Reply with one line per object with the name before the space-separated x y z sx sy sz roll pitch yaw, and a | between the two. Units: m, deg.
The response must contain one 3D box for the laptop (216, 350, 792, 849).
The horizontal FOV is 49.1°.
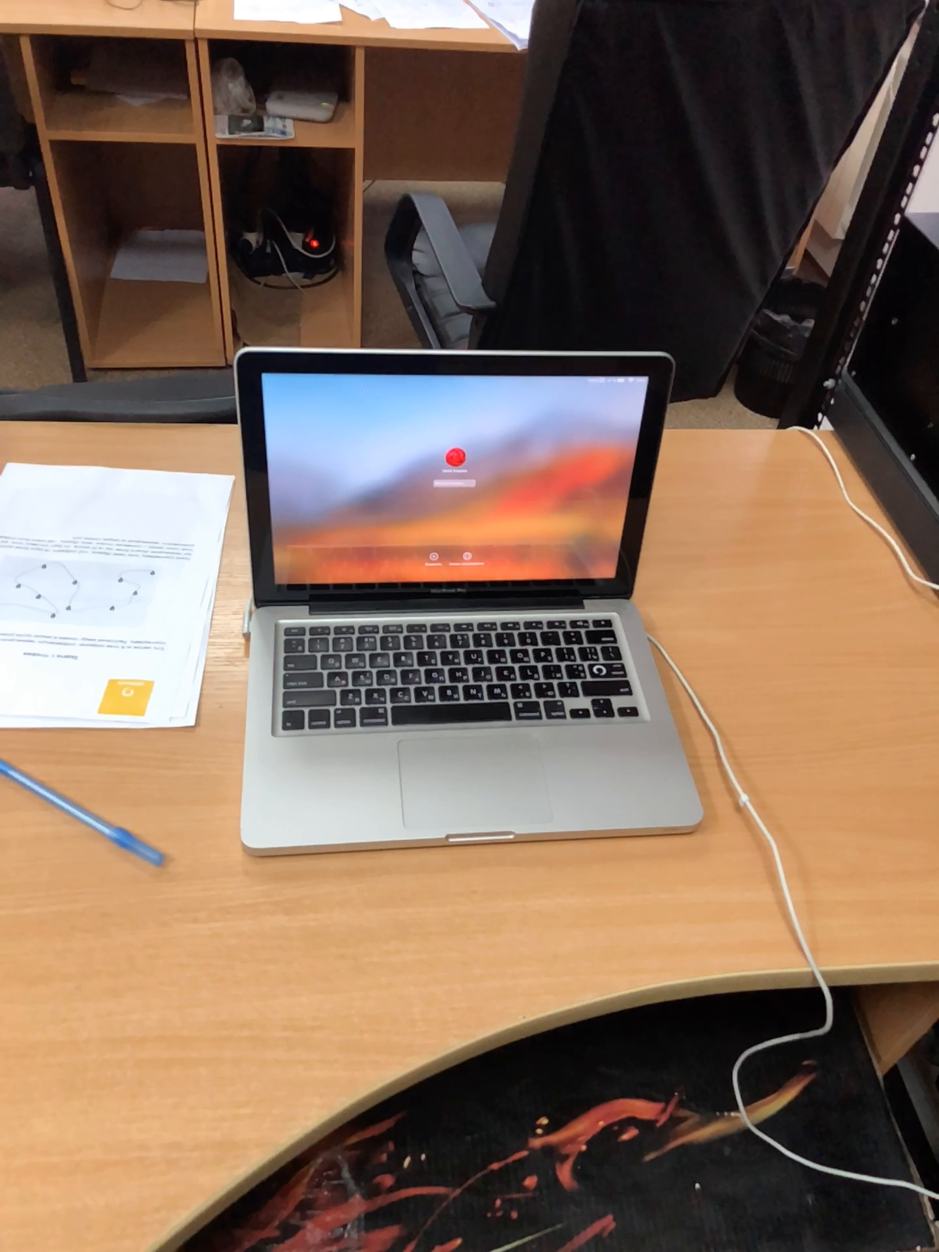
laptop | 0.000 -0.028 0.716 0.315 0.207 0.266 -2 46 -9
